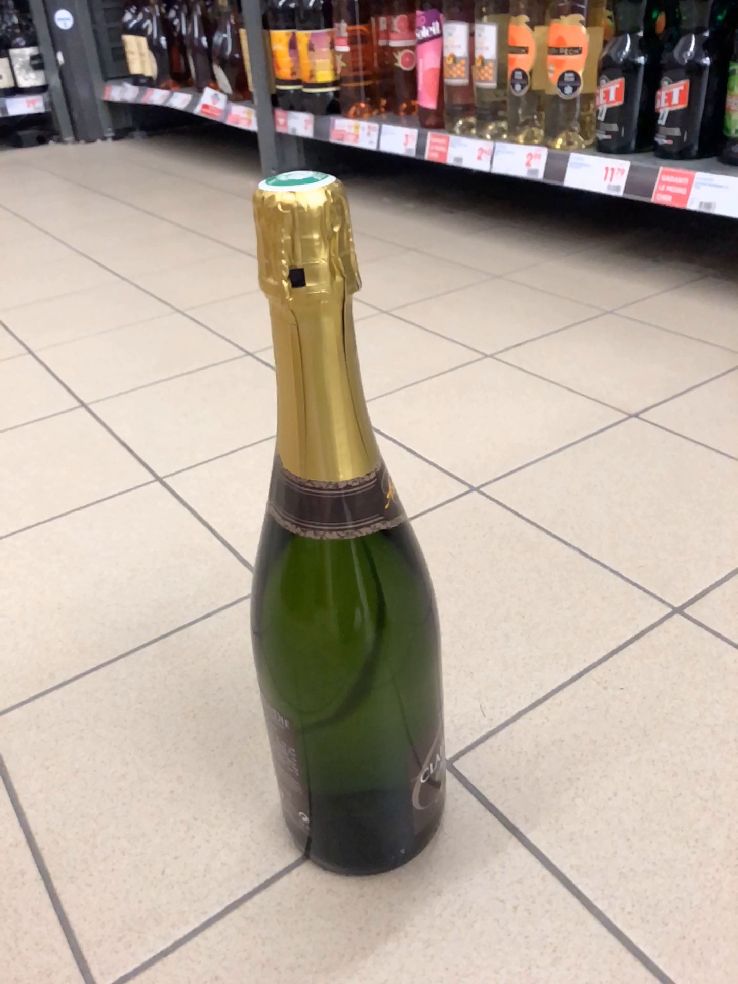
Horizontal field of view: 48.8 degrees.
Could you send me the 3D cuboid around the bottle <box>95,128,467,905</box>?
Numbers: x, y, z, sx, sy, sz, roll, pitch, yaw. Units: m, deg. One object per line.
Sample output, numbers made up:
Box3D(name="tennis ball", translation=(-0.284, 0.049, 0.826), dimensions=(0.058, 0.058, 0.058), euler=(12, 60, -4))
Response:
Box3D(name="bottle", translation=(-0.015, 0.029, 0.343), dimensions=(0.100, 0.318, 0.101), euler=(-3, 31, 2))
